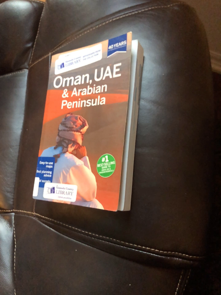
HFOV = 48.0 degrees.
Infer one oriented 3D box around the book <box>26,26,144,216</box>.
[{"bbox_3d":[-0.033,-0.030,0.307,0.138,0.030,0.203,-1,81,31],"label":"book"}]
